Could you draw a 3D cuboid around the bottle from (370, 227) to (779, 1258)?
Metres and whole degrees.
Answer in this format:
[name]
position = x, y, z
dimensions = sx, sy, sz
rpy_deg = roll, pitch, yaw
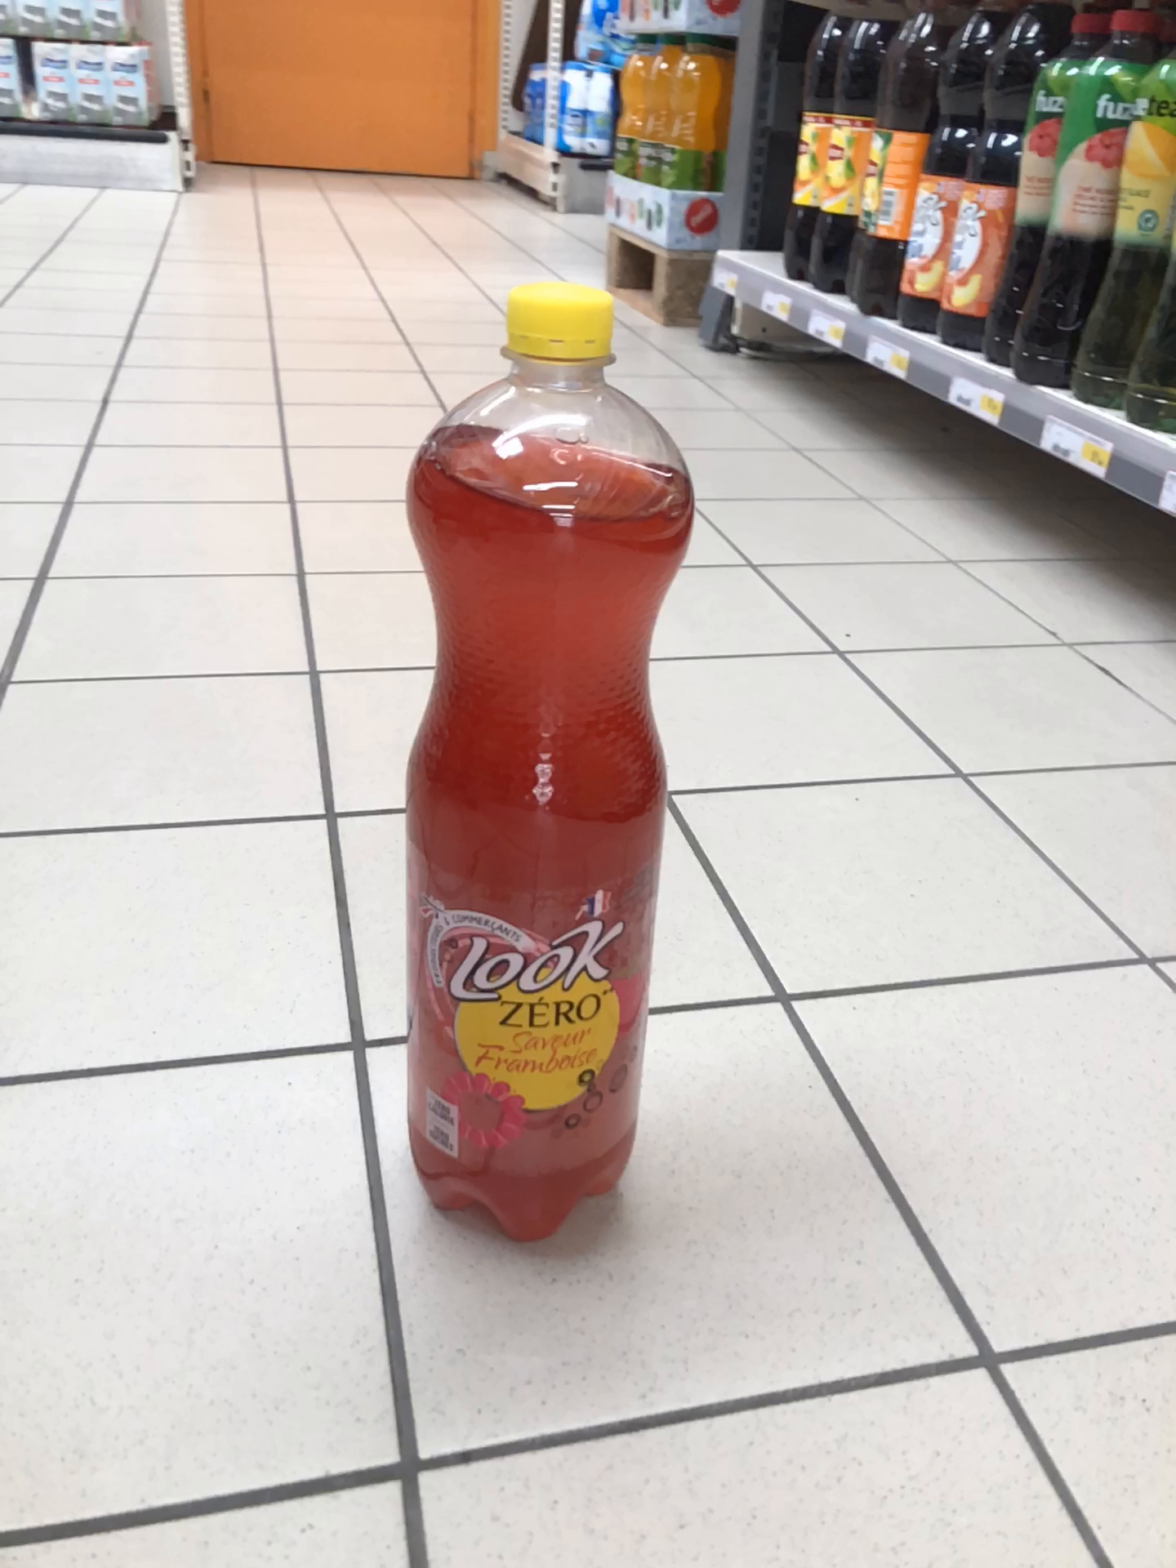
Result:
[bottle]
position = -0.012, 0.000, 0.430
dimensions = 0.100, 0.328, 0.091
rpy_deg = 5, 27, 1
